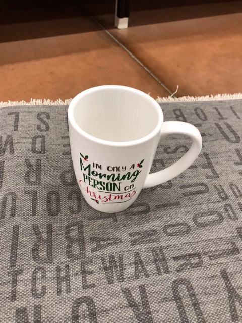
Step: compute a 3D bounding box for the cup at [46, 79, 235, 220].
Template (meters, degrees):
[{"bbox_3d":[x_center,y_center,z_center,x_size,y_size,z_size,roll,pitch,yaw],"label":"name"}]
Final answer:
[{"bbox_3d":[0.010,-0.010,0.265,0.140,0.100,0.090,0,47,-6],"label":"cup"}]
